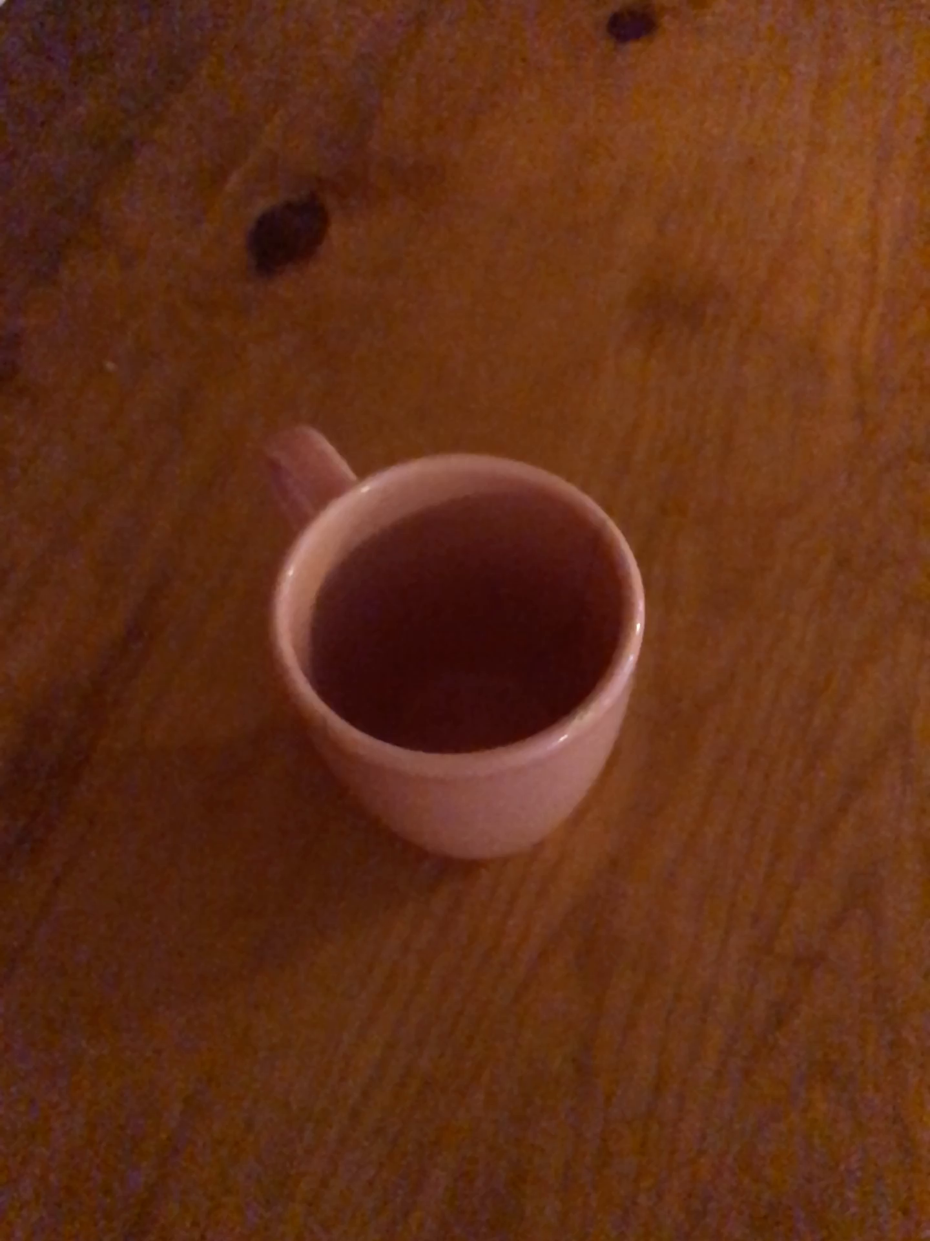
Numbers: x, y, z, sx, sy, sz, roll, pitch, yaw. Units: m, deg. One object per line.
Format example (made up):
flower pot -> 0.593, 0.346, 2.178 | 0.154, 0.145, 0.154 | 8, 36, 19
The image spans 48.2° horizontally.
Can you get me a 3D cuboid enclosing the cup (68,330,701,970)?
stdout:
cup -> -0.019, 0.008, 0.285 | 0.121, 0.095, 0.090 | 37, 67, 23
